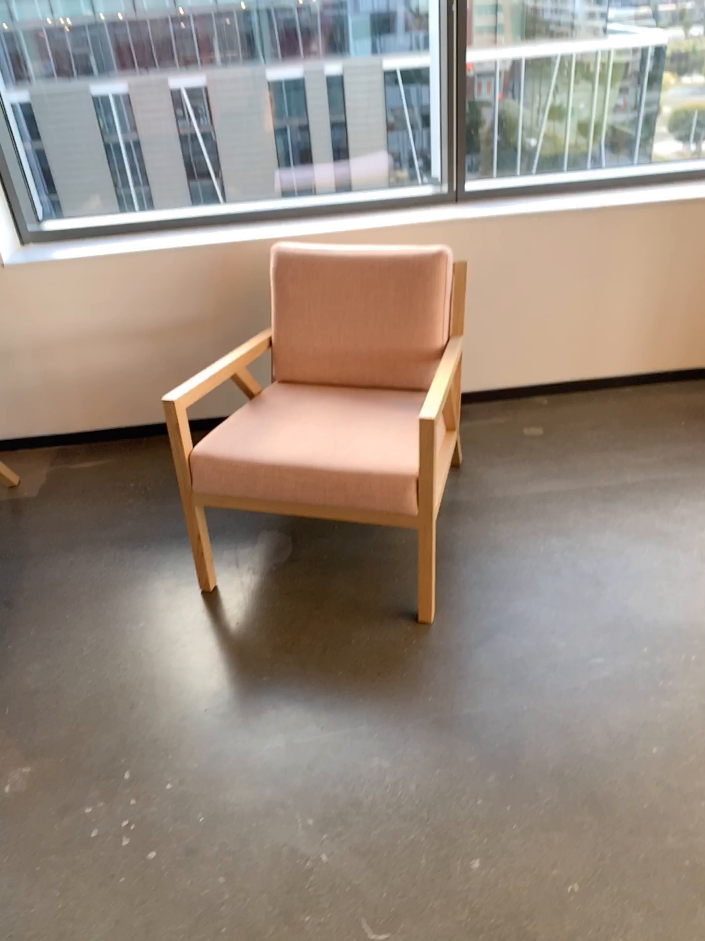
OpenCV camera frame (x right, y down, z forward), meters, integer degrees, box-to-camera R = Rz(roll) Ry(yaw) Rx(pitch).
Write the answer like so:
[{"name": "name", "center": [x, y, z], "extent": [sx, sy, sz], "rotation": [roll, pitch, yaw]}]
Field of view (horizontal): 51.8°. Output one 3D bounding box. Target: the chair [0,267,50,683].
[{"name": "chair", "center": [-1.452, -0.020, 2.053], "extent": [0.740, 0.795, 0.775], "rotation": [-7, 34, -1]}]

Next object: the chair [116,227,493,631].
[{"name": "chair", "center": [-0.037, -0.170, 2.034], "extent": [0.741, 0.795, 0.774], "rotation": [5, 34, 16]}]
